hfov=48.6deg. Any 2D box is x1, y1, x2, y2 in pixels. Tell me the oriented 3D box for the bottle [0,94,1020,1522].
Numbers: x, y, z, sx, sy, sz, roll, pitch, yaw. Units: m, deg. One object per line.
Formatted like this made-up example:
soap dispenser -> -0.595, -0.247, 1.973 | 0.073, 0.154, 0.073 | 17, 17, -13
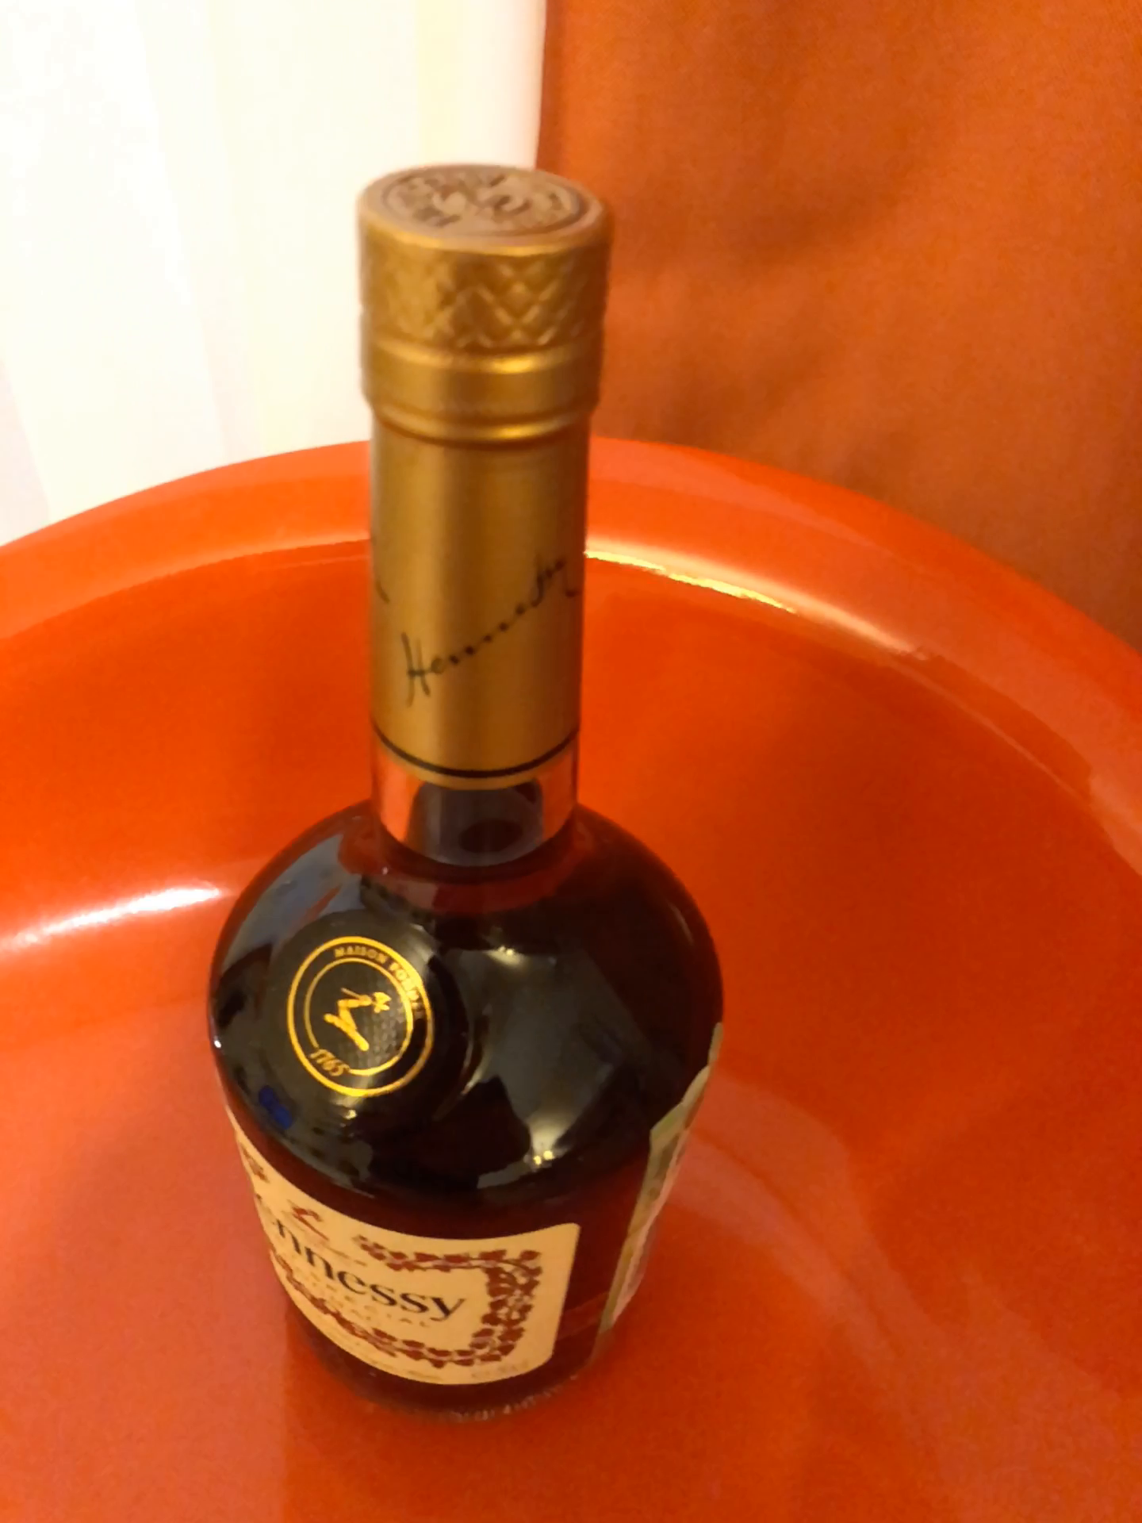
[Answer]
bottle -> -0.015, 0.028, 0.204 | 0.079, 0.218, 0.080 | 3, 43, -2
